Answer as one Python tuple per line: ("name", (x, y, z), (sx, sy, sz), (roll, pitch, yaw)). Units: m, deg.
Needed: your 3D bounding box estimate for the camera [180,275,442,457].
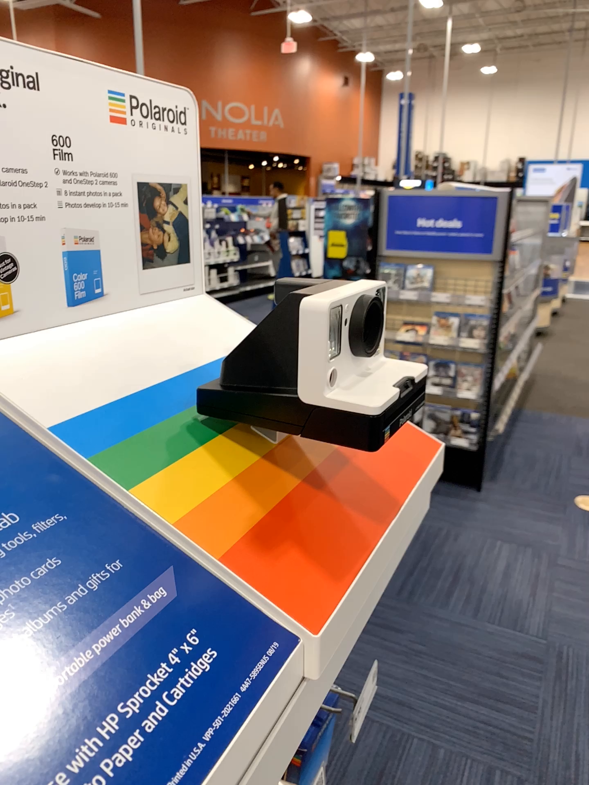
("camera", (0.017, -0.031, 0.454), (0.150, 0.090, 0.130), (9, 19, 24))
